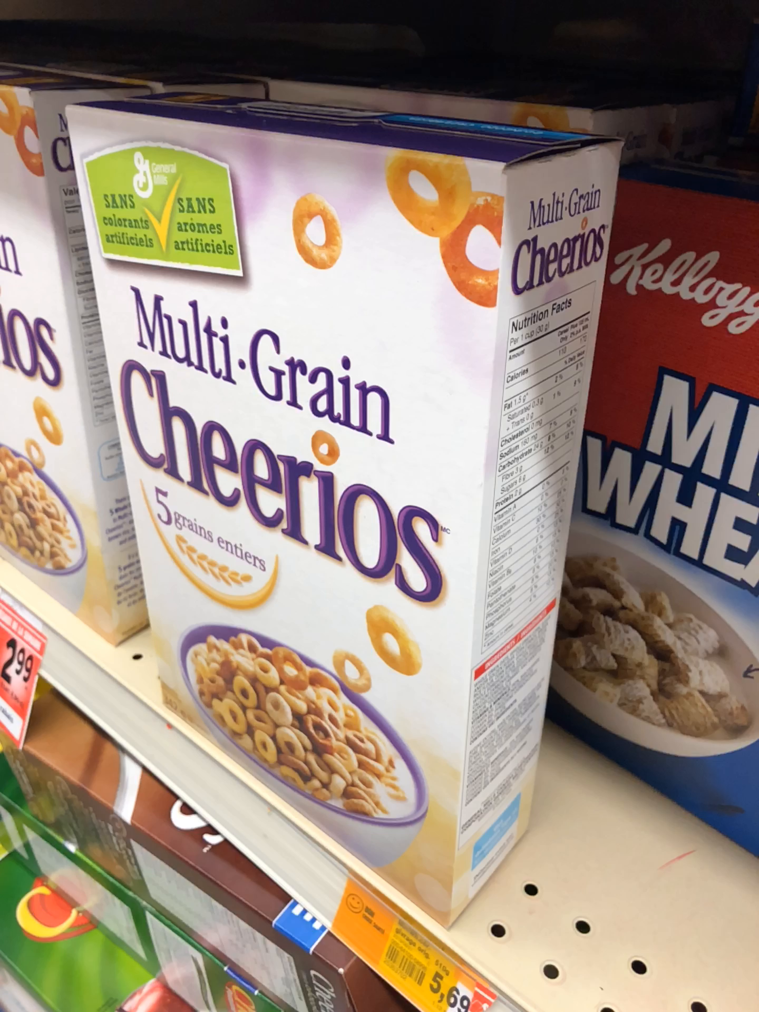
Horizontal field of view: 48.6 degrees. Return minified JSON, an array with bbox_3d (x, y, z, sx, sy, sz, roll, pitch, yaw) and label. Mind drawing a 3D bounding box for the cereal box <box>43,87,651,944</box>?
[{"bbox_3d":[-0.025,0.000,0.327,0.201,0.278,0.060,25,38,35],"label":"cereal box"}]
